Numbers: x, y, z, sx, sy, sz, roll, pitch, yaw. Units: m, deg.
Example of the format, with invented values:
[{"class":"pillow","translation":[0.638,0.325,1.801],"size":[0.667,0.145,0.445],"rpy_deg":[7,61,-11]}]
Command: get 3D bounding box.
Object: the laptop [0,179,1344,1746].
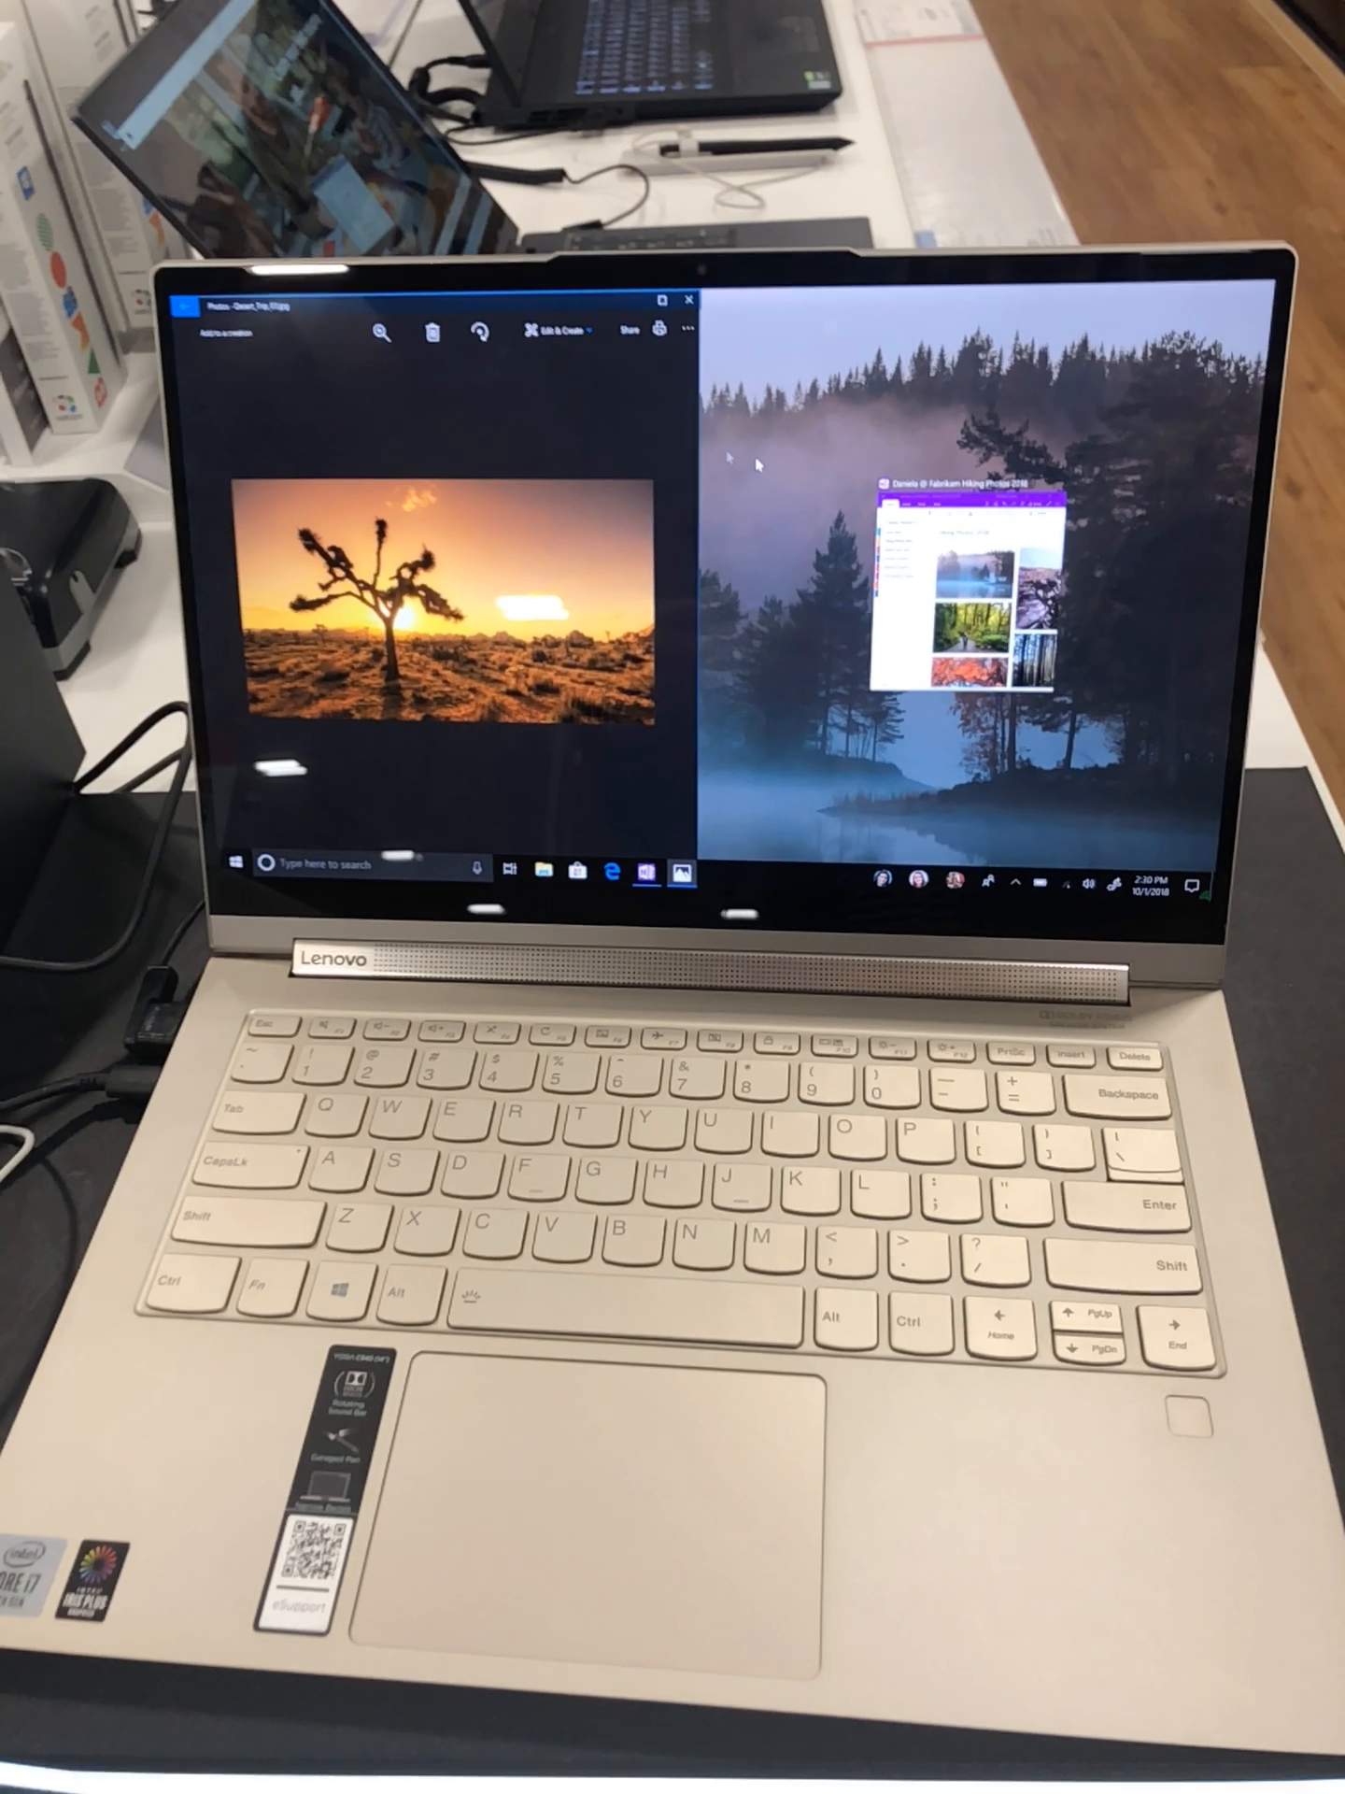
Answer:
[{"class":"laptop","translation":[-0.006,-0.017,0.375],"size":[0.320,0.170,0.327],"rpy_deg":[2,48,7]}]
